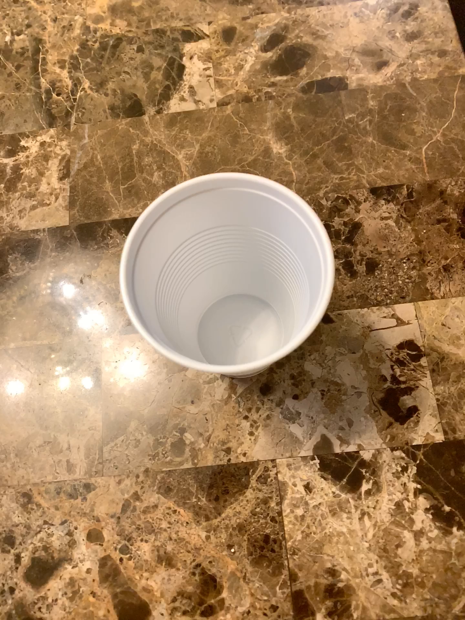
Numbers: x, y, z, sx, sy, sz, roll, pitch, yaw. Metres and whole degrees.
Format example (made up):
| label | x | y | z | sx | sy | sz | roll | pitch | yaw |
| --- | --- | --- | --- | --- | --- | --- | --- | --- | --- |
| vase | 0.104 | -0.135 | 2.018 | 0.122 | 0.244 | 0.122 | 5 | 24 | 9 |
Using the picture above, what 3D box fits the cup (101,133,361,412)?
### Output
| label | x | y | z | sx | sy | sz | roll | pitch | yaw |
| --- | --- | --- | --- | --- | --- | --- | --- | --- | --- |
| cup | 0.000 | -0.009 | 0.214 | 0.077 | 0.084 | 0.081 | -2 | 72 | 5 |
